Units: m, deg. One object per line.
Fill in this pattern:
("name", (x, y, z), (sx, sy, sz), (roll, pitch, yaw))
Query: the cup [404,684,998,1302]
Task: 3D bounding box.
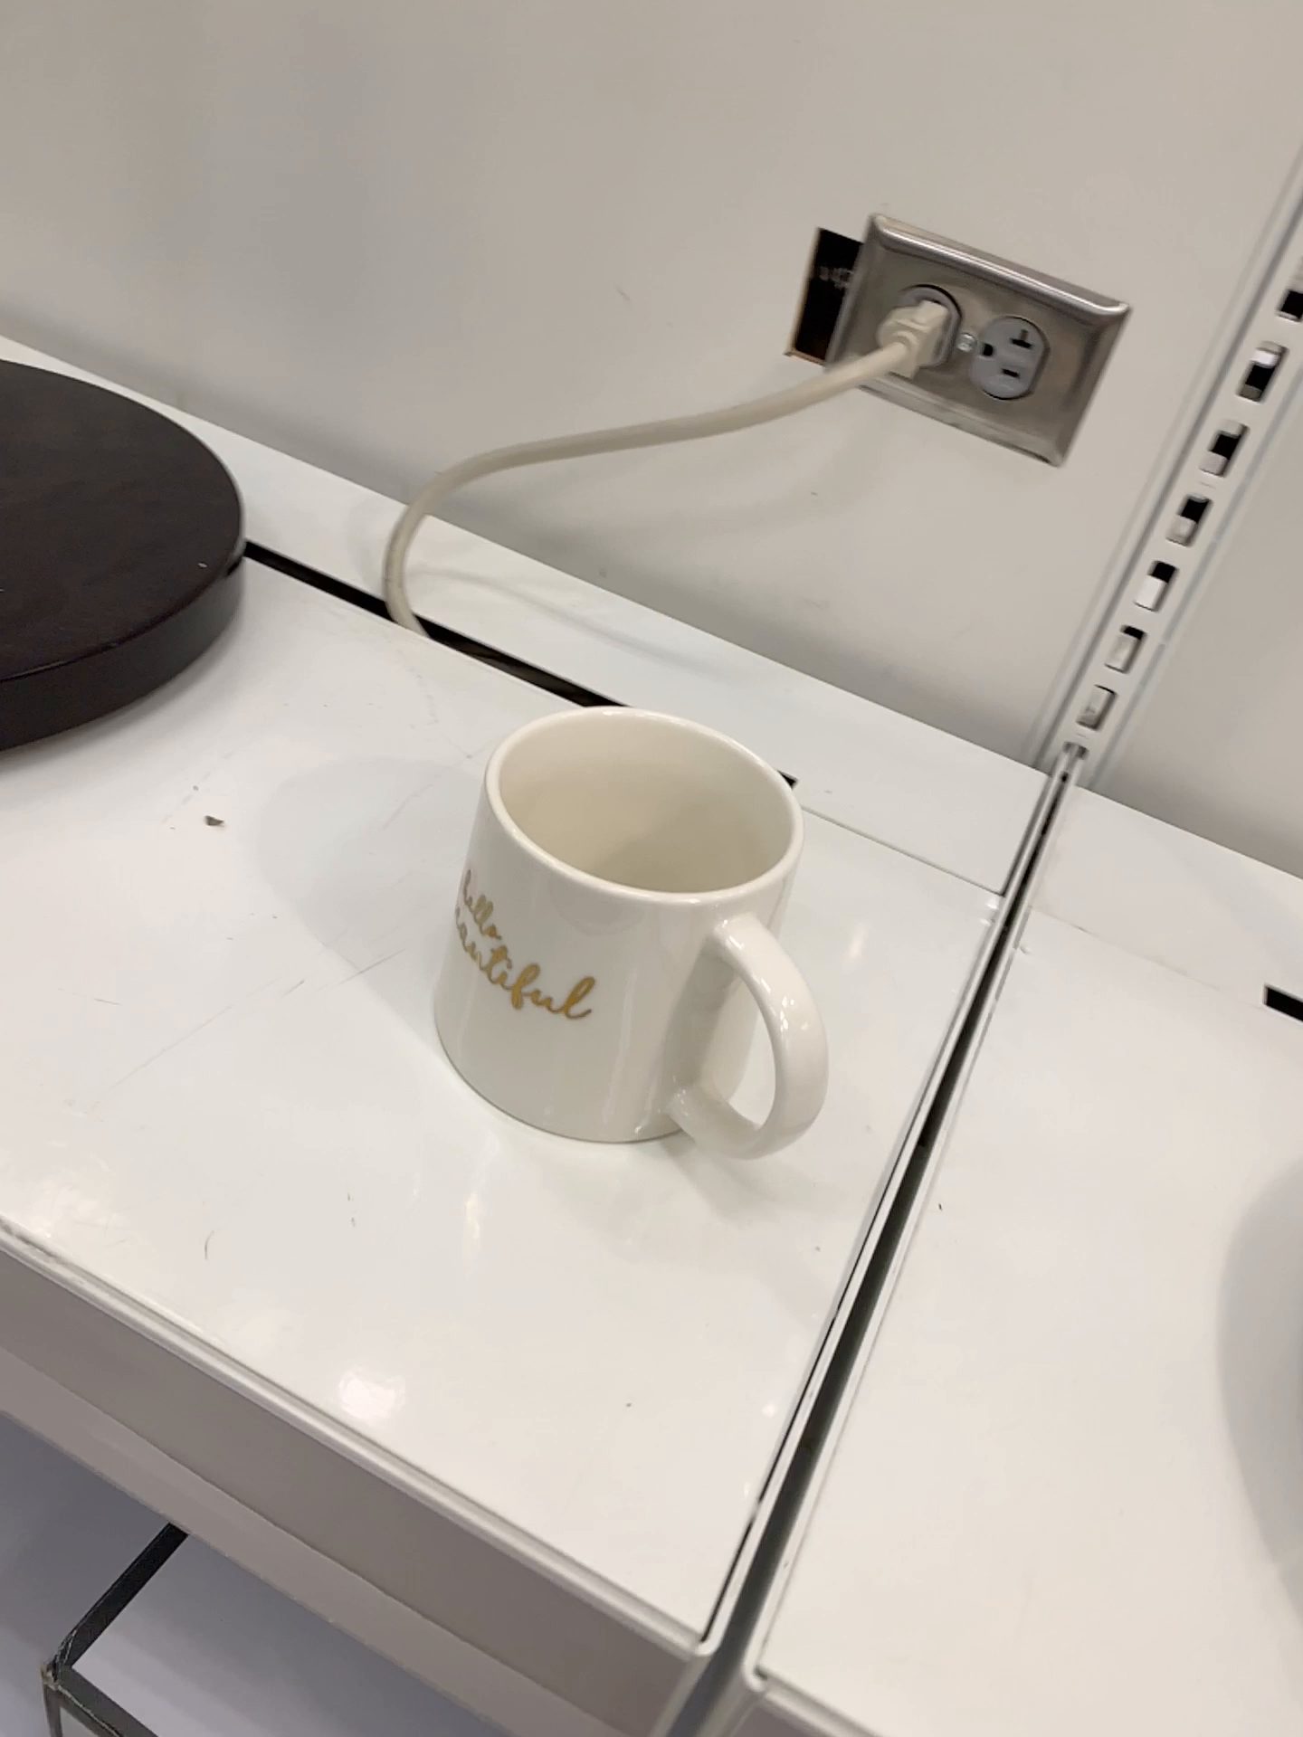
("cup", (0.005, 0.028, 0.407), (0.105, 0.097, 0.140), (-14, 44, -31))
